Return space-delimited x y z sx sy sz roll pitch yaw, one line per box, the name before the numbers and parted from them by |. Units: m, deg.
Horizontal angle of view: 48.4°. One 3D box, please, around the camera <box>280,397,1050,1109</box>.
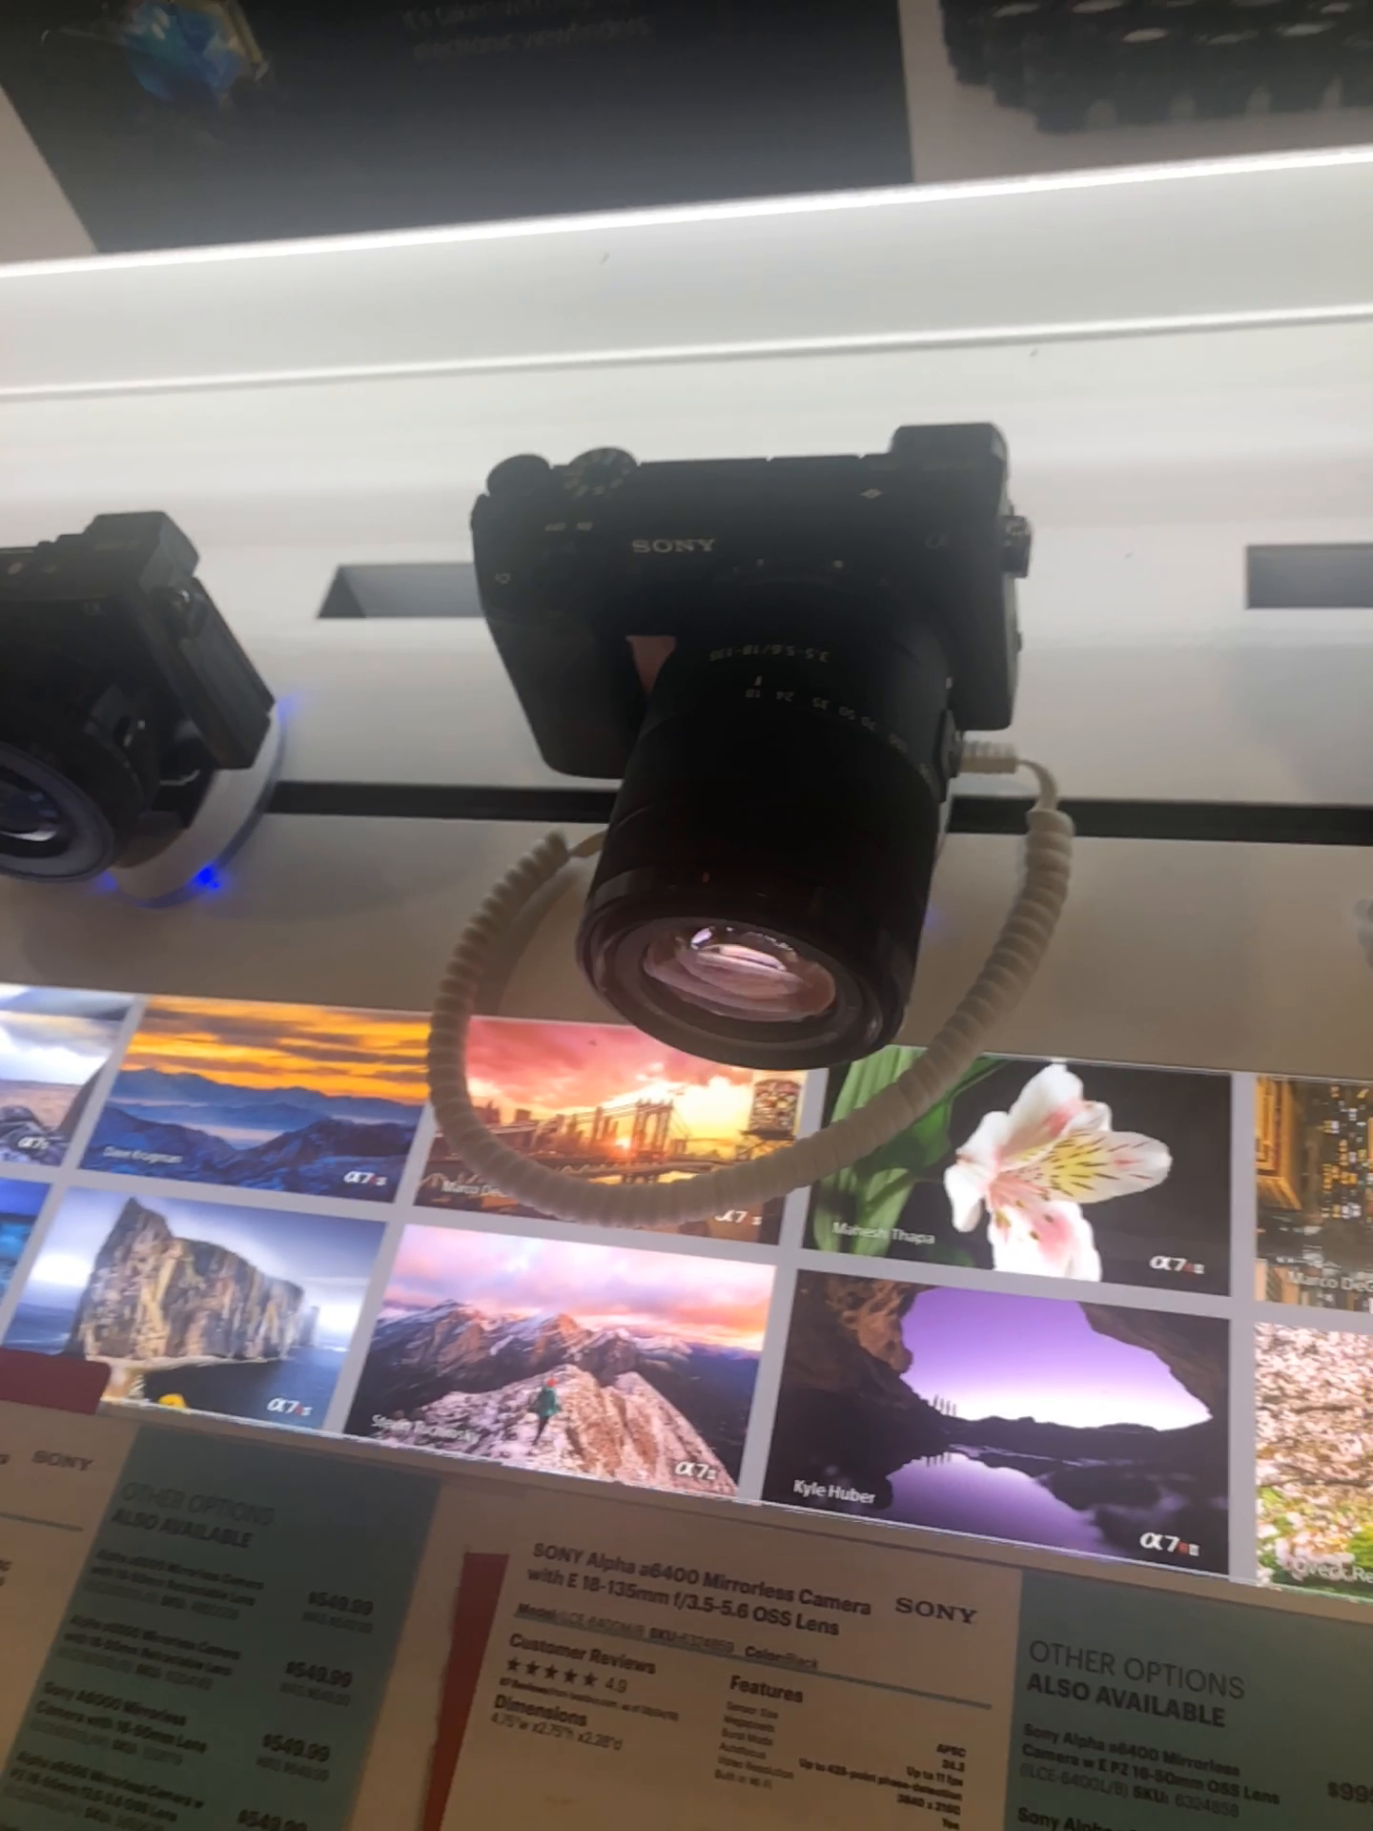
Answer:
camera | 0.006 -0.039 0.332 0.130 0.070 0.130 4 58 17
